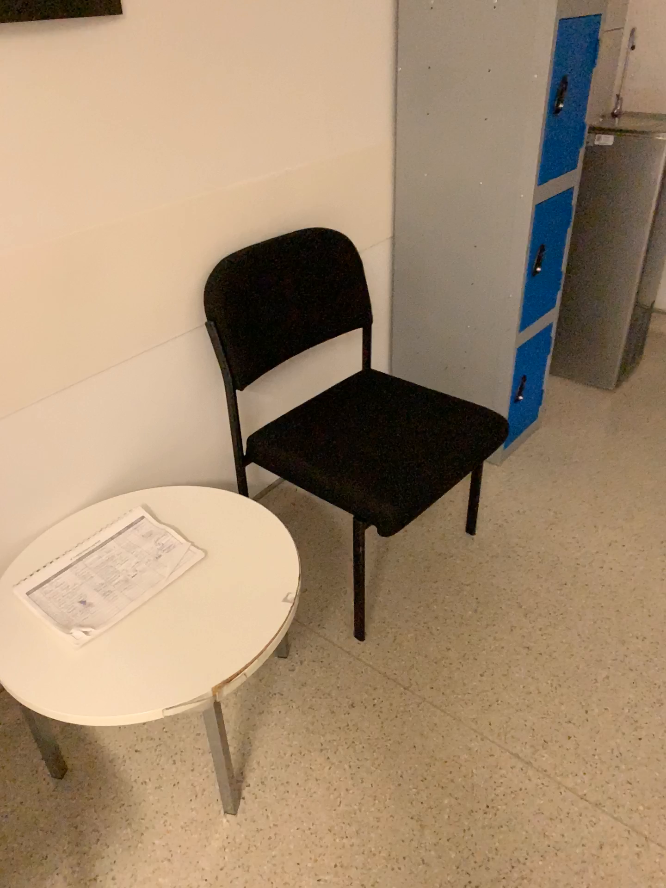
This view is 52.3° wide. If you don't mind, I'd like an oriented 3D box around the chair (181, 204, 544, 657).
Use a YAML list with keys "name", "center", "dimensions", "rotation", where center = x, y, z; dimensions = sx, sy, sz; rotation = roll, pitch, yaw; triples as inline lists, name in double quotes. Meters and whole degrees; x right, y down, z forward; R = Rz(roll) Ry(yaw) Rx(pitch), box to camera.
- name: "chair"
  center: [0.076, -0.067, 1.674]
  dimensions: [0.553, 0.823, 0.553]
  rotation: [26, 42, 36]
